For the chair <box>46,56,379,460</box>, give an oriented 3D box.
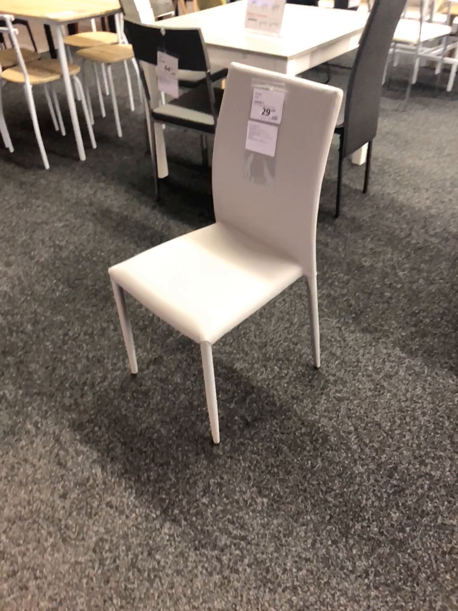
[{"bbox_3d":[-0.023,-0.141,1.363,0.543,0.815,0.501,-33,48,-33],"label":"chair"}]
